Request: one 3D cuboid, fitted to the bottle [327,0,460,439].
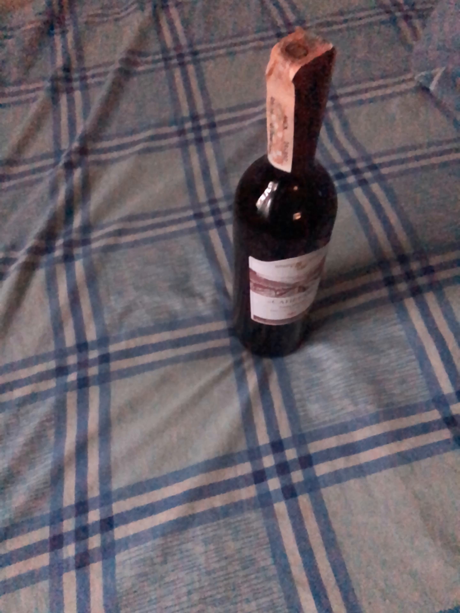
[{"bbox_3d":[0.108,-0.020,0.266,0.081,0.305,0.071,8,59,10],"label":"bottle"}]
